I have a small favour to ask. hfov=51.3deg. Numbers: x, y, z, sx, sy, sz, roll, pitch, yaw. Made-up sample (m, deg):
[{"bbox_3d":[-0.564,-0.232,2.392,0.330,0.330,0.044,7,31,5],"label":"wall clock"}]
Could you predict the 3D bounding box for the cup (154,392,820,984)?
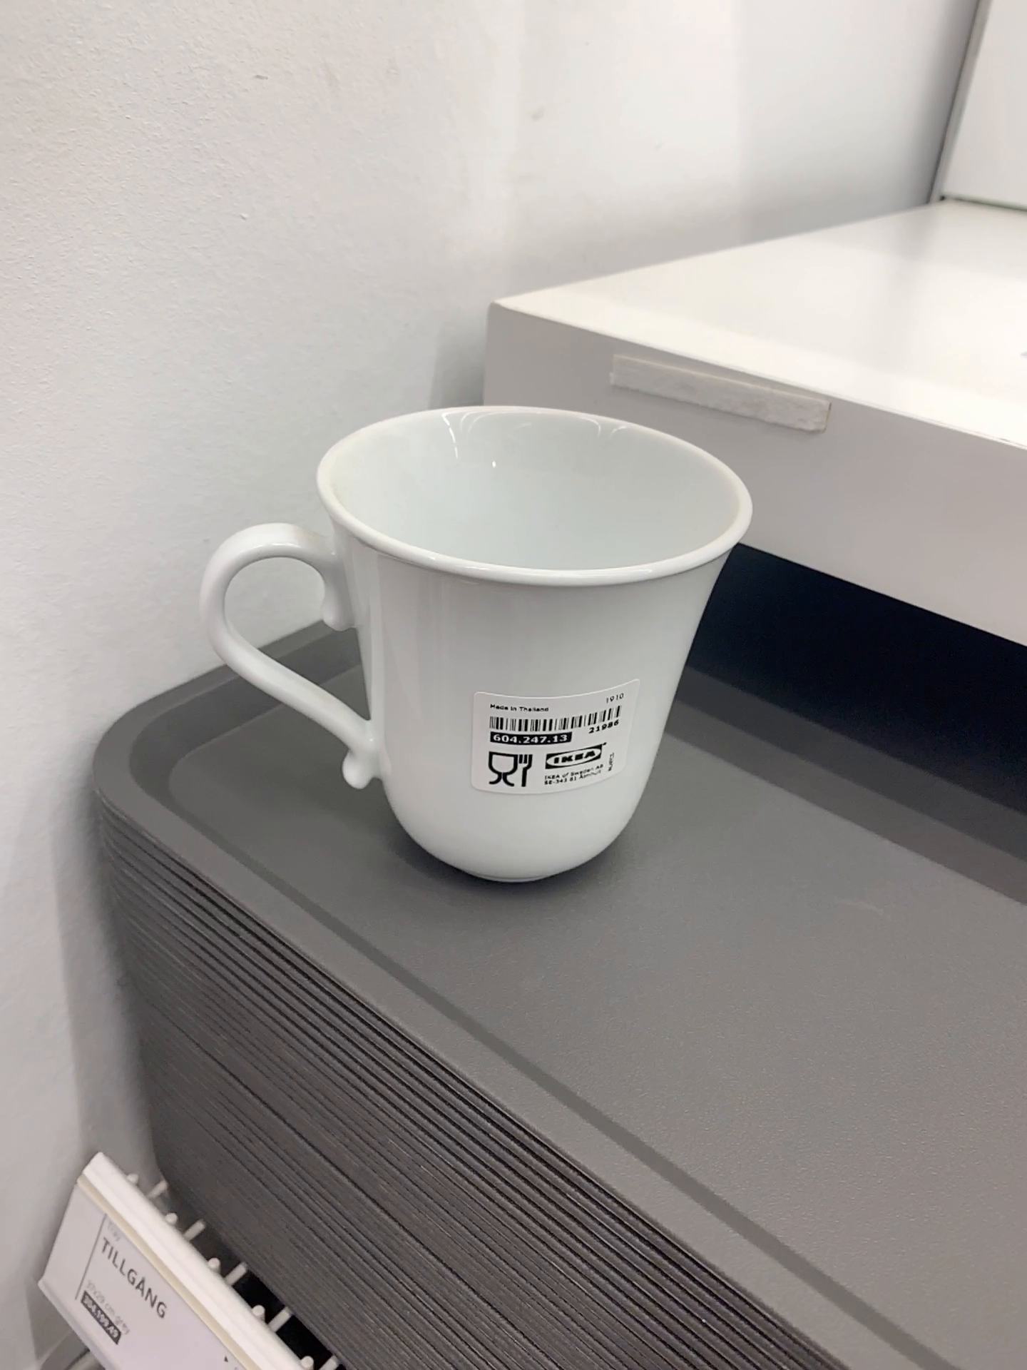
[{"bbox_3d":[-0.016,-0.009,0.269,0.130,0.100,0.100,-5,32,-16],"label":"cup"}]
